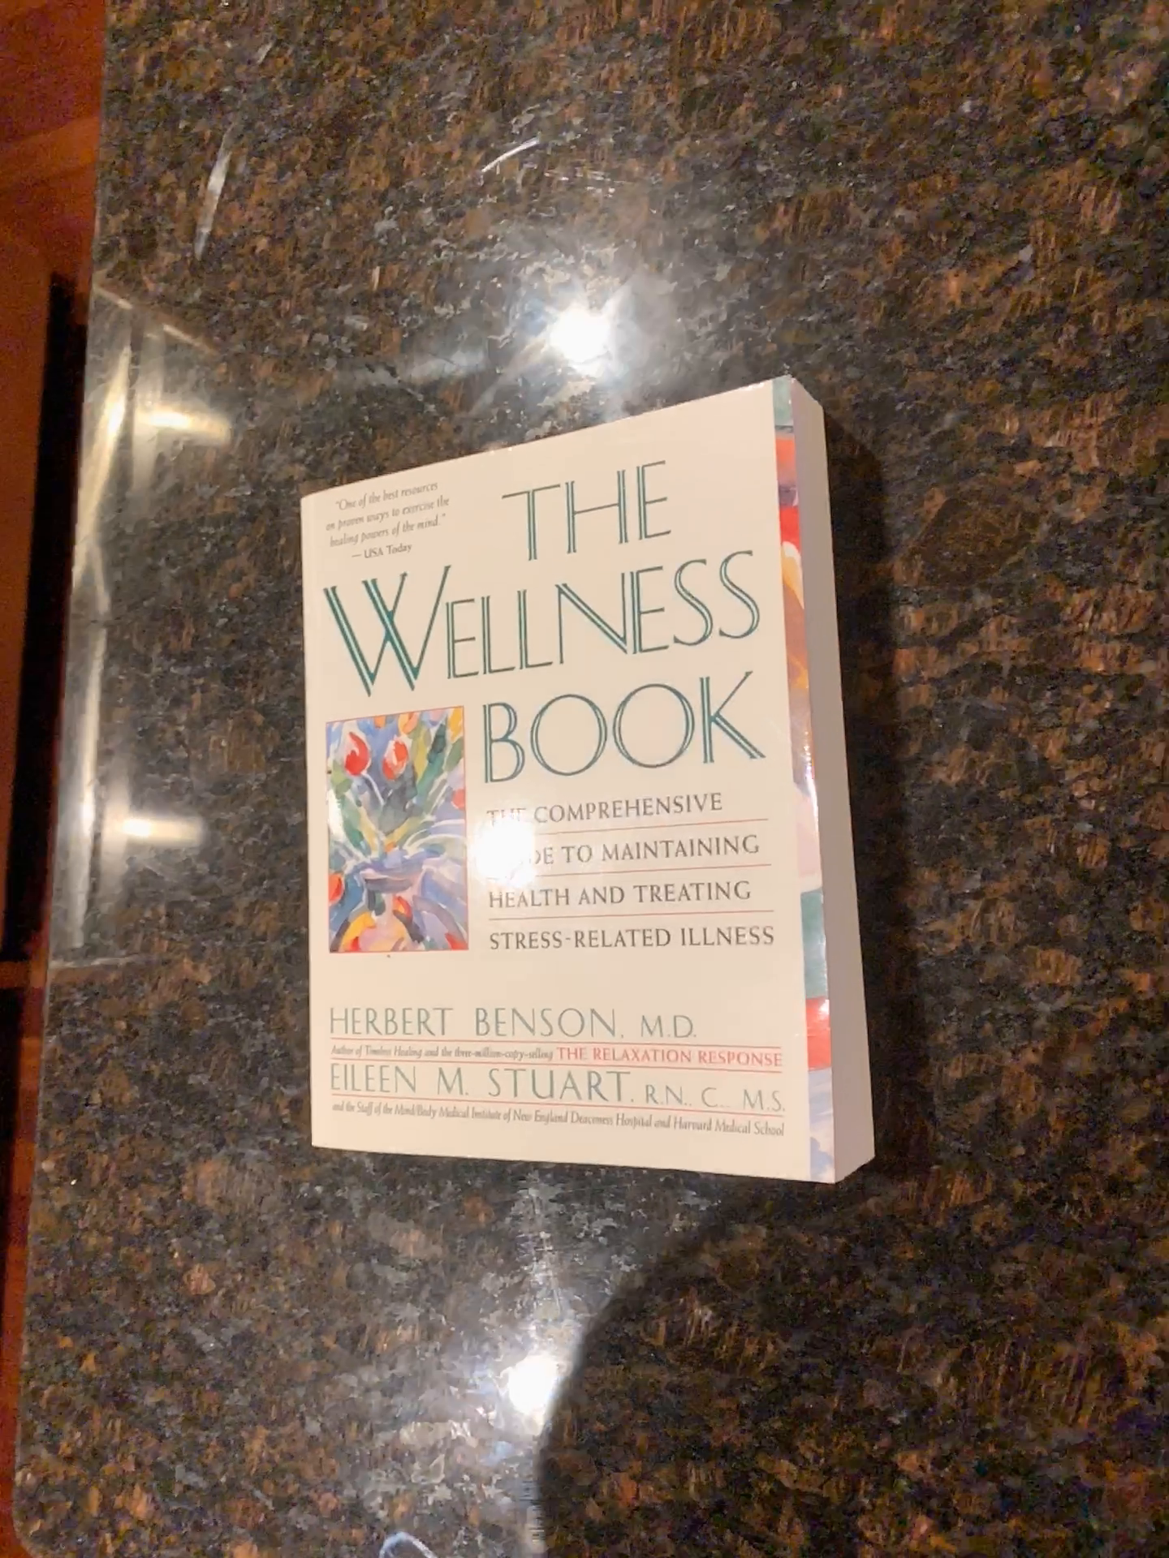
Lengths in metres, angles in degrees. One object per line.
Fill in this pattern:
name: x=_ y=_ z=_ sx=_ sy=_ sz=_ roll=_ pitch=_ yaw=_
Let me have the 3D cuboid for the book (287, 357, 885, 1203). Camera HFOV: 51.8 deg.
book: x=-0.007 y=0.006 z=0.408 sx=0.188 sy=0.060 sz=0.240 roll=-5 pitch=83 yaw=27
